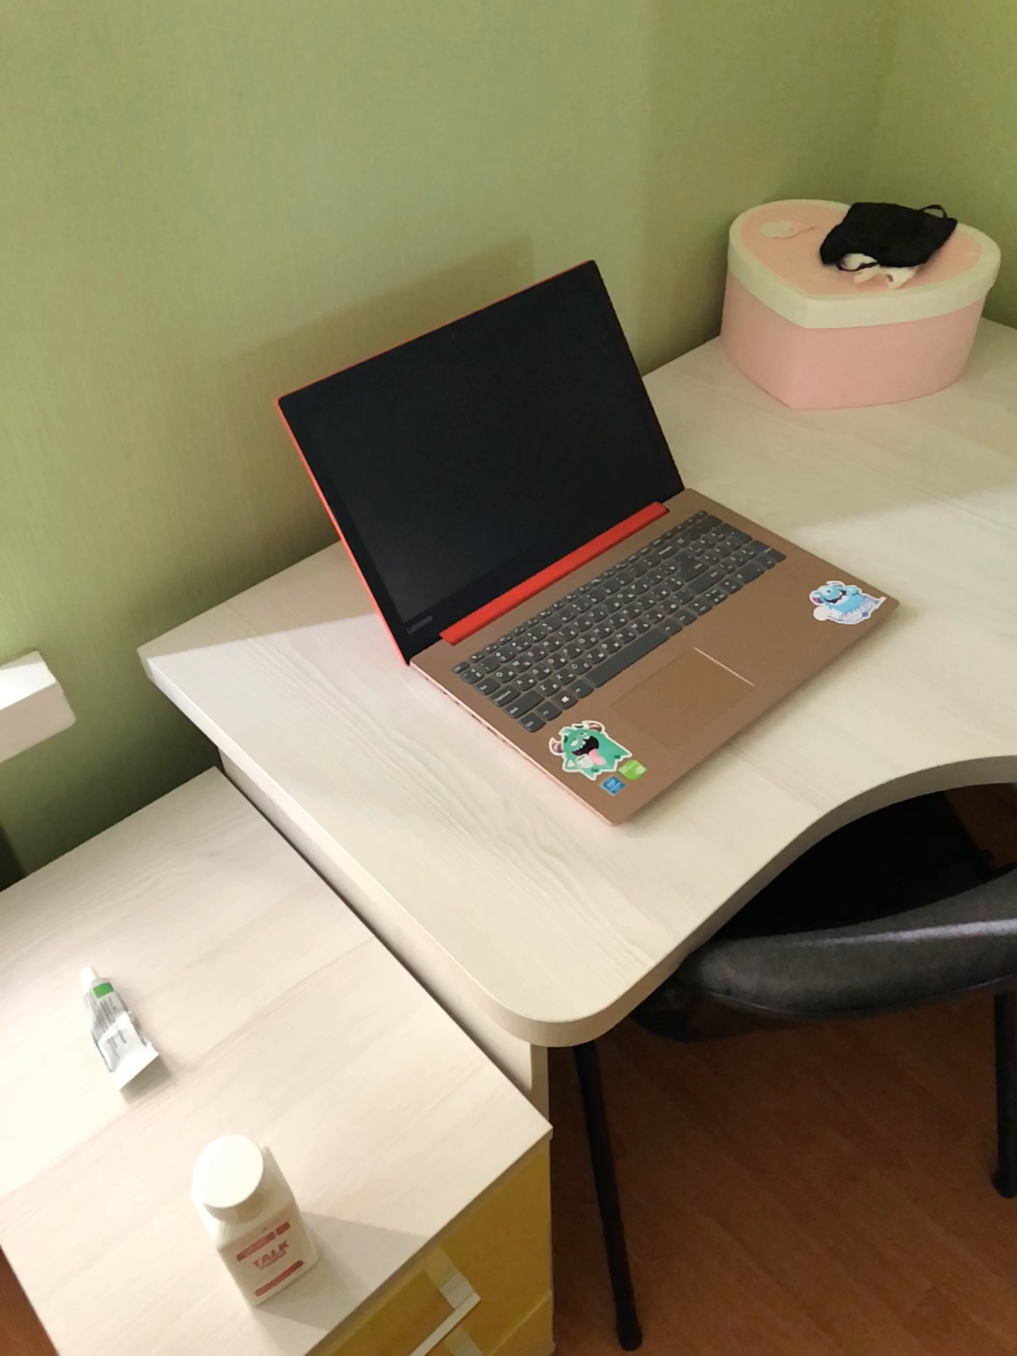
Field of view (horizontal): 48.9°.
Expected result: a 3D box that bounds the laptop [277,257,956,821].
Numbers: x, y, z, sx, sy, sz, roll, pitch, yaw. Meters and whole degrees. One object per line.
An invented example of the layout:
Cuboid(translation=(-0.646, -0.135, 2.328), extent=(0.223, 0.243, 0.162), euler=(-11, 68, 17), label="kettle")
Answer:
Cuboid(translation=(0.085, -0.154, 0.979), extent=(0.375, 0.198, 0.402), euler=(-33, 52, -28), label="laptop")
